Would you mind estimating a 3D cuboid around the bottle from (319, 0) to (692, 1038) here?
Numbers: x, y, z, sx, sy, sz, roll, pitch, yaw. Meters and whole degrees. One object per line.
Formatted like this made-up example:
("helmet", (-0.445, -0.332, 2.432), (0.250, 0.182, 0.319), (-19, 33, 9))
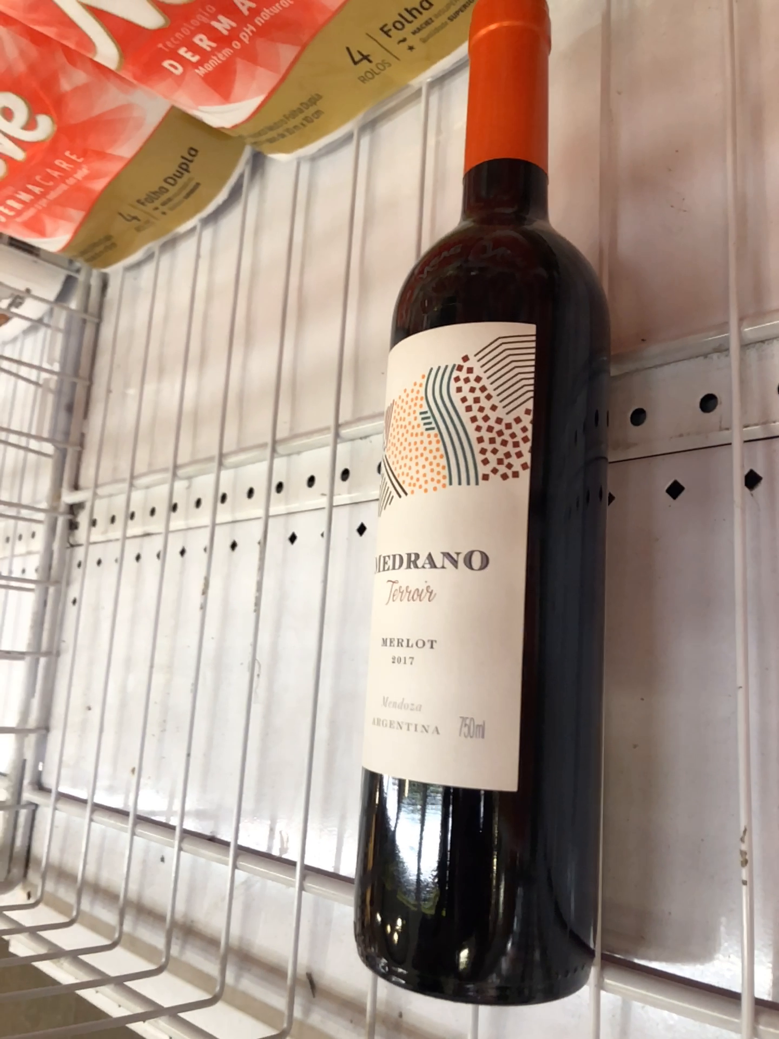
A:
("bottle", (0.045, -0.026, 0.290), (0.080, 0.070, 0.330), (-6, 75, 45))
